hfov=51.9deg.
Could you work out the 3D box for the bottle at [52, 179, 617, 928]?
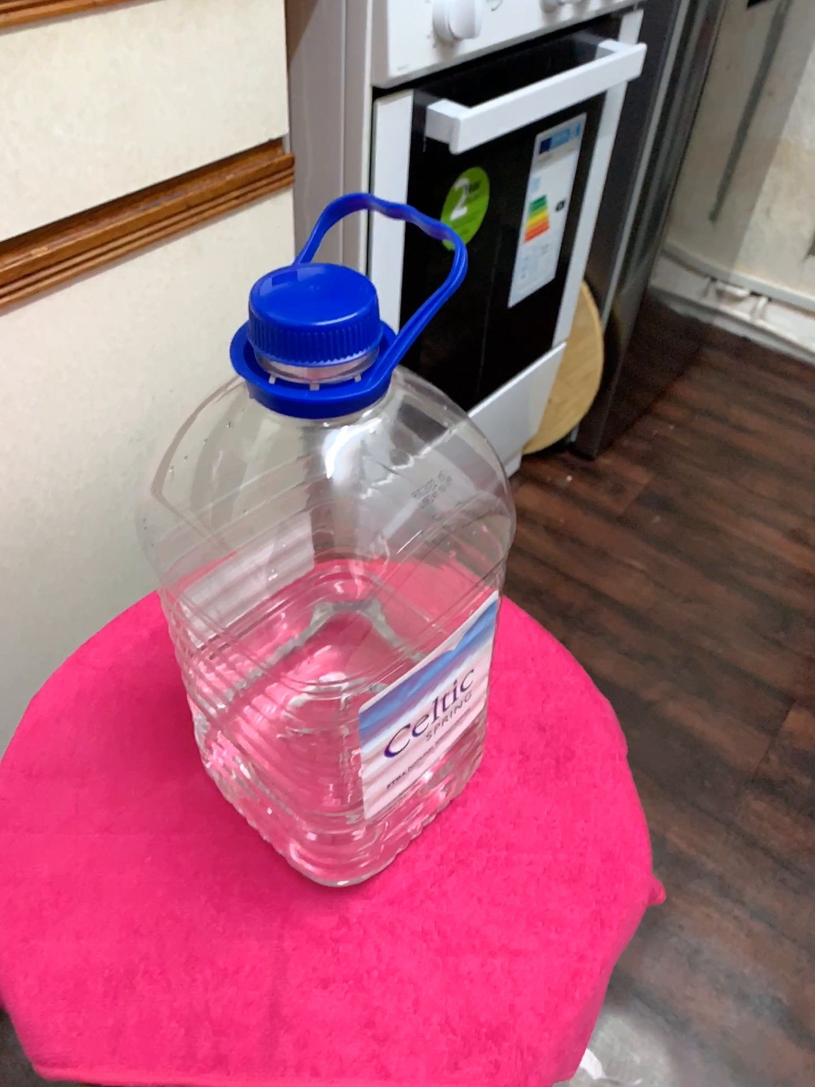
[{"bbox_3d":[-0.033,0.024,0.421,0.141,0.327,0.151,2,45,-2],"label":"bottle"}]
